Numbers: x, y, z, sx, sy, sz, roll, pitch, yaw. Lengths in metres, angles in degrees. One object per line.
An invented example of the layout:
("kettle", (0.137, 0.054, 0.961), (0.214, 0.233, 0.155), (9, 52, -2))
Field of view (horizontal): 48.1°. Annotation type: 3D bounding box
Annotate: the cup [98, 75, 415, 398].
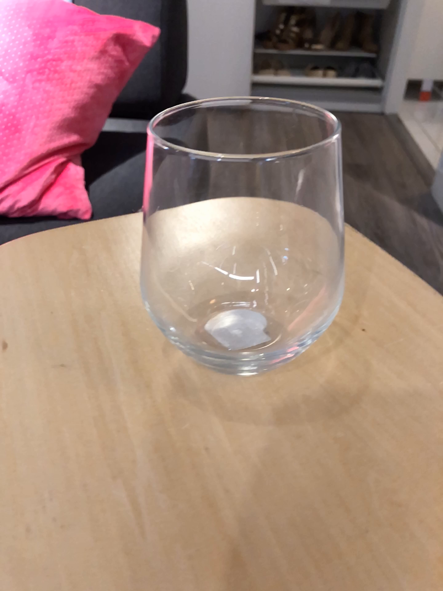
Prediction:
("cup", (0.009, -0.026, 0.207), (0.090, 0.100, 0.090), (1, 37, -1))
